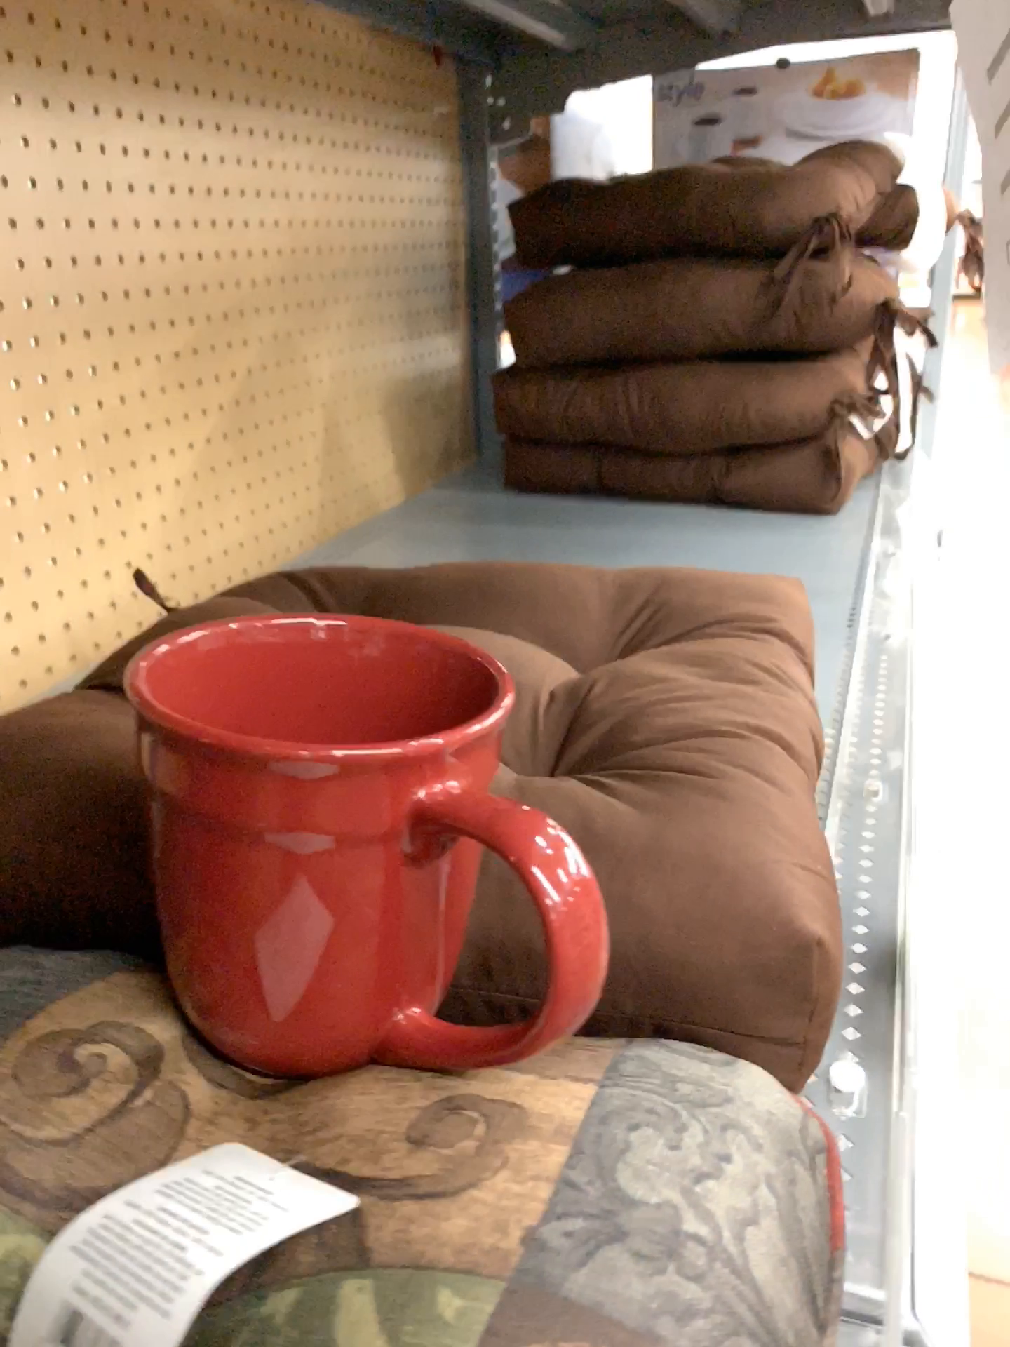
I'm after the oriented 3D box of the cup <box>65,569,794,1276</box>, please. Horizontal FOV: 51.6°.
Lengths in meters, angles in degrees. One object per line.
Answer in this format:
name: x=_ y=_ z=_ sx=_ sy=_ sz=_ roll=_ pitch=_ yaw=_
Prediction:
cup: x=-0.026 y=0.041 z=0.266 sx=0.150 sy=0.090 sz=0.100 roll=22 pitch=25 yaw=39
